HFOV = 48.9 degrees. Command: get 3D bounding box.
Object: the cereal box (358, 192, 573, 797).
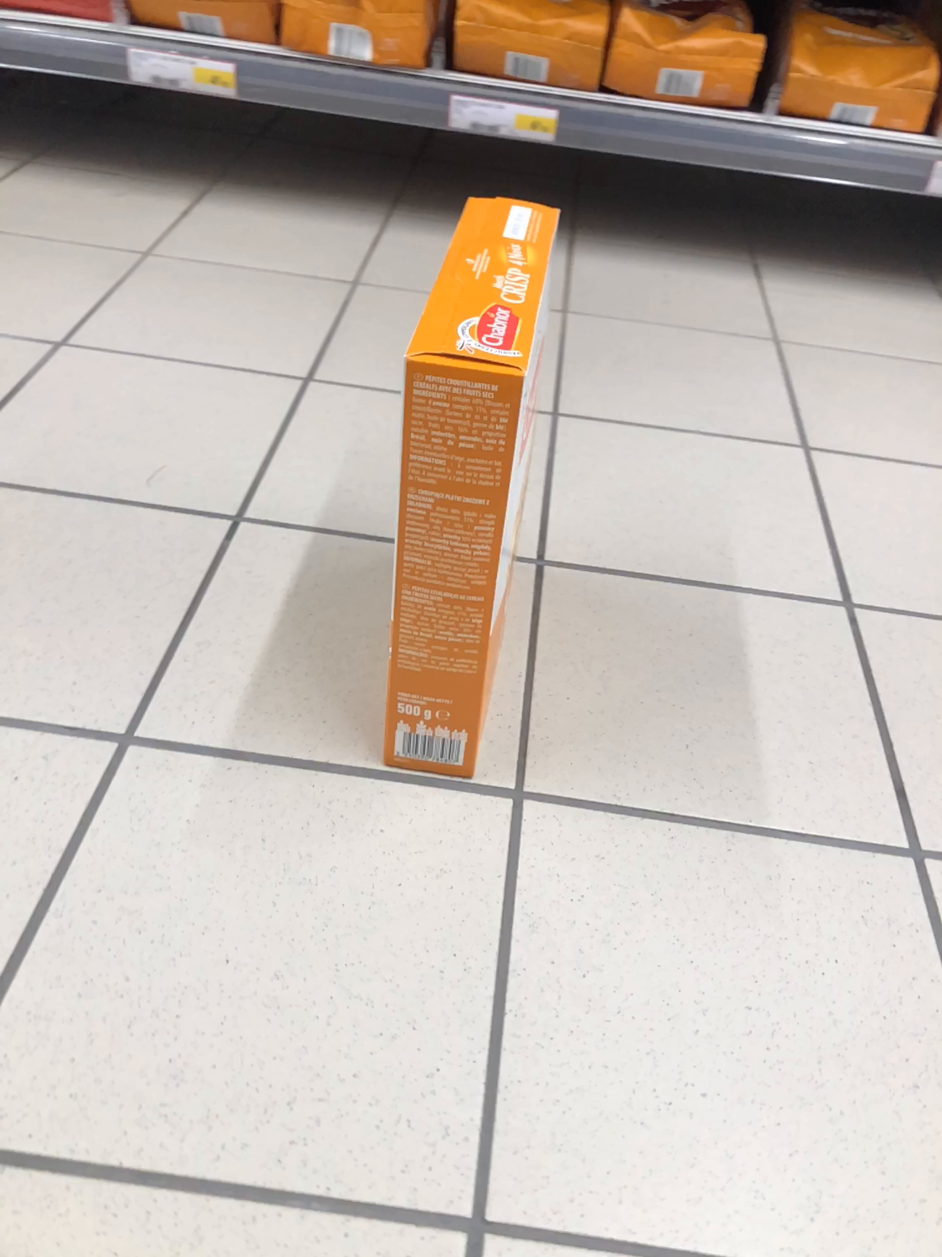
[{"bbox_3d":[-0.002,-0.069,0.514,0.060,0.219,0.201,9,39,2],"label":"cereal box"}]
